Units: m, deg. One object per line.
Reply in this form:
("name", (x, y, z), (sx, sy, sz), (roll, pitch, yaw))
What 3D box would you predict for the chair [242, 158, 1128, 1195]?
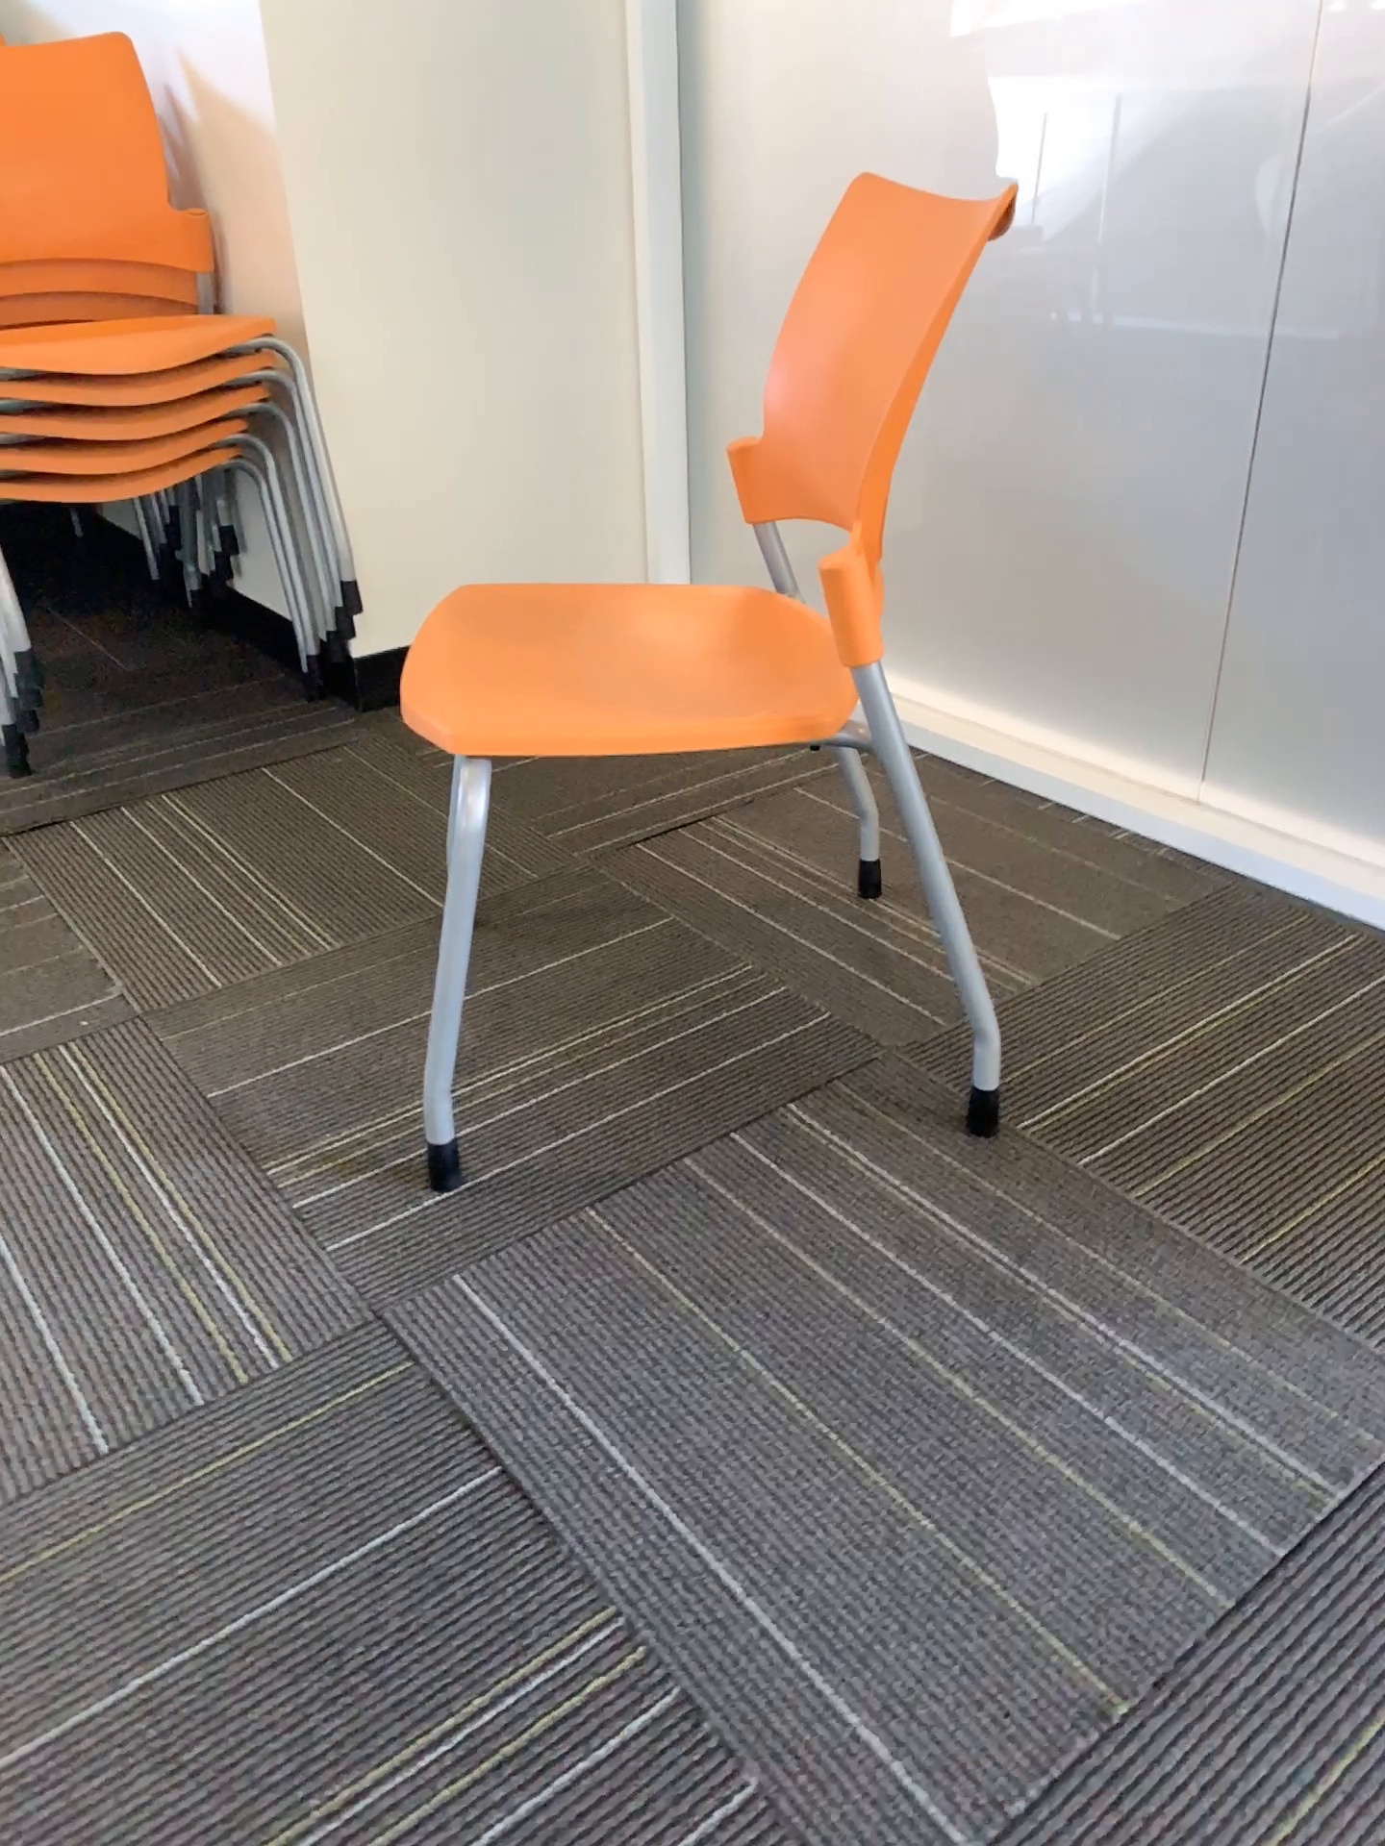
("chair", (-0.031, -0.301, 1.419), (0.580, 0.805, 0.714), (-4, 29, -5))
